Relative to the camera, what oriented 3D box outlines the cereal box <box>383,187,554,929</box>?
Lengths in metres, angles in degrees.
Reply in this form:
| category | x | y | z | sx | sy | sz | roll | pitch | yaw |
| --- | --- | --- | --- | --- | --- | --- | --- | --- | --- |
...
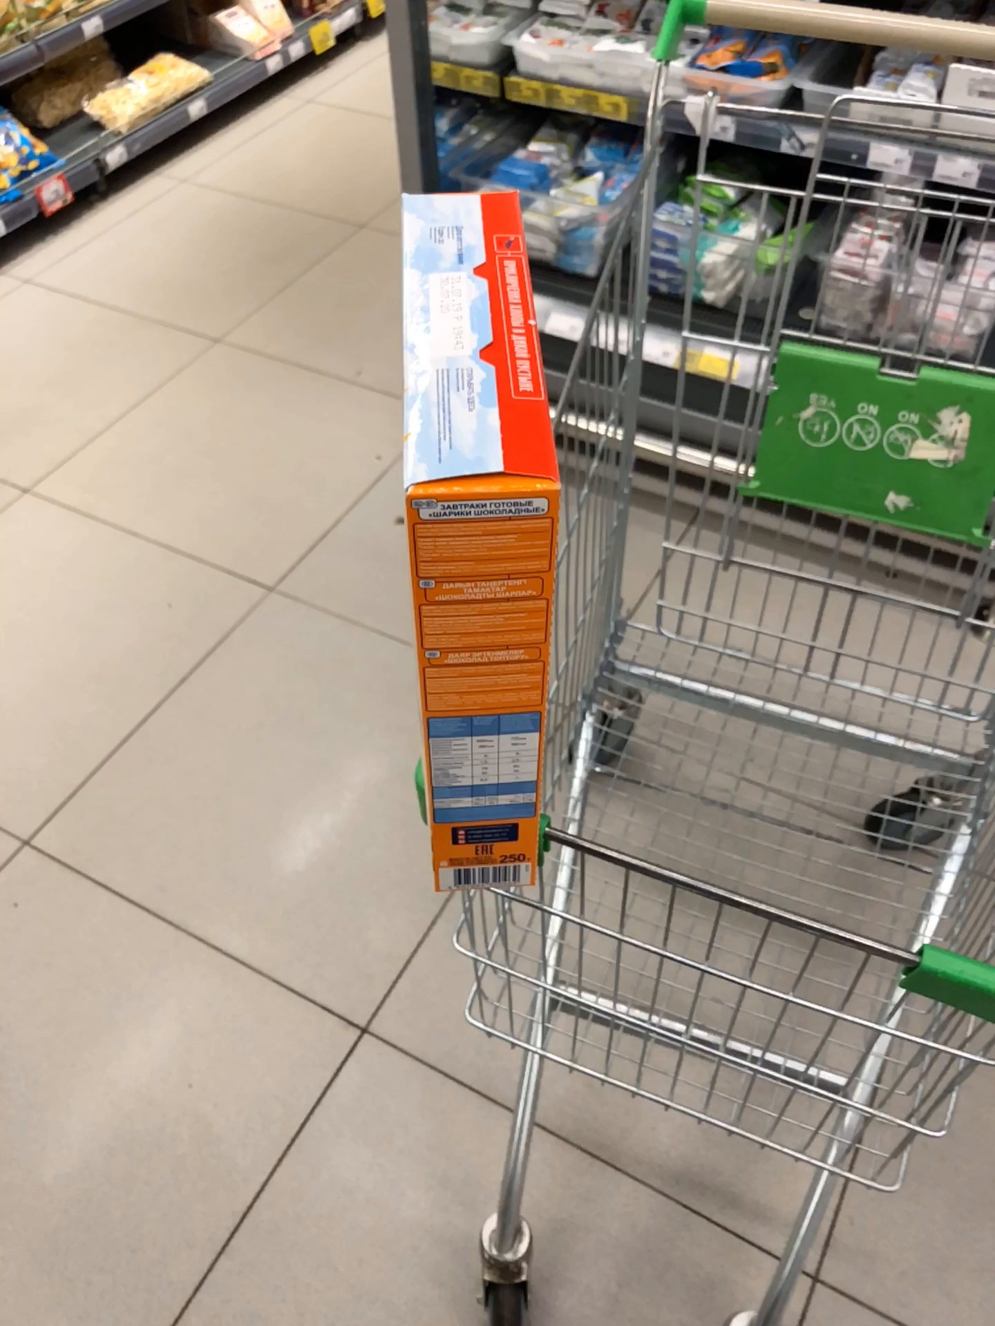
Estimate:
| category | x | y | z | sx | sy | sz | roll | pitch | yaw |
| --- | --- | --- | --- | --- | --- | --- | --- | --- | --- |
| cereal box | -0.013 | -0.036 | 0.485 | 0.050 | 0.259 | 0.201 | -1 | 49 | -2 |
